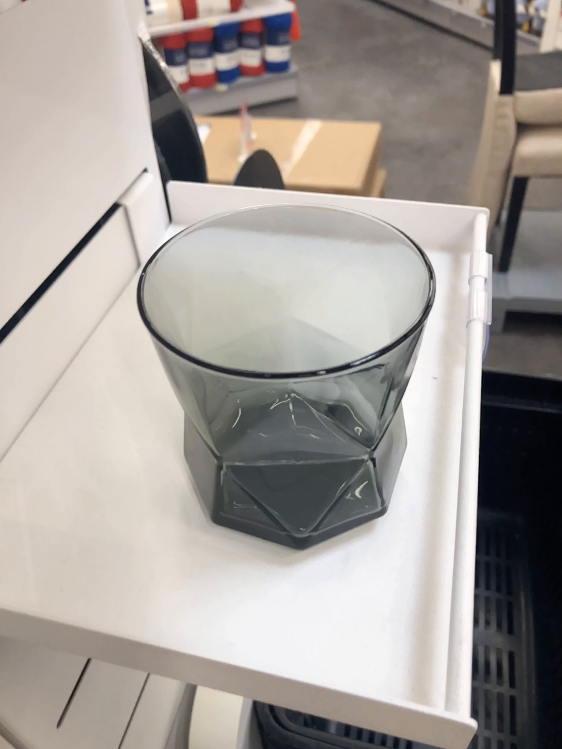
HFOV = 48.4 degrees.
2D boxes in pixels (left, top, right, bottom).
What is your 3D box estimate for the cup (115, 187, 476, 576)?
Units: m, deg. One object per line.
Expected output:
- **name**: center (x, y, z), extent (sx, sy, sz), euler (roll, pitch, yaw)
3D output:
- **cup**: center (0.000, -0.001, 0.213), extent (0.088, 0.080, 0.094), euler (-2, 42, 2)
